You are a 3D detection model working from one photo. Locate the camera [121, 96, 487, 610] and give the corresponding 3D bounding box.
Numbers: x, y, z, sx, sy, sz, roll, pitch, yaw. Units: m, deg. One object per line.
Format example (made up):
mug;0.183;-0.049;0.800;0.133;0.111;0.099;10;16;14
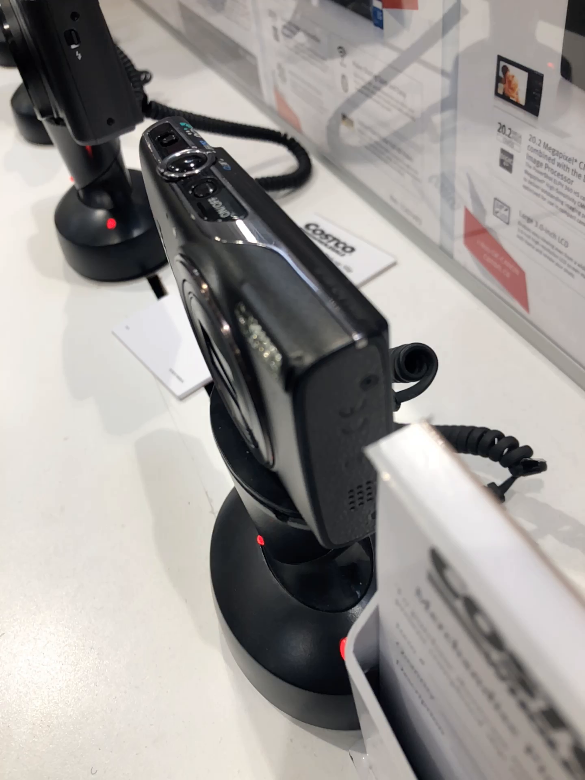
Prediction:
camera;-0.003;-0.016;0.151;0.030;0.060;0.111;-23;47;-11
